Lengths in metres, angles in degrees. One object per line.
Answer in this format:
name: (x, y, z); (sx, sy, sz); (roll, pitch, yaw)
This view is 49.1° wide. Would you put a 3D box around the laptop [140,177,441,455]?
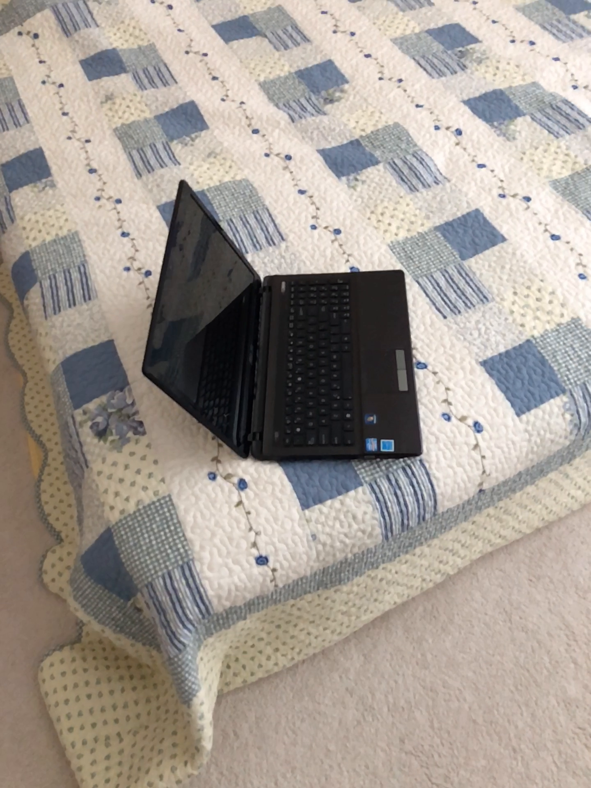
laptop: (0.002, -0.117, 0.933); (0.350, 0.193, 0.359); (0, 54, 2)
